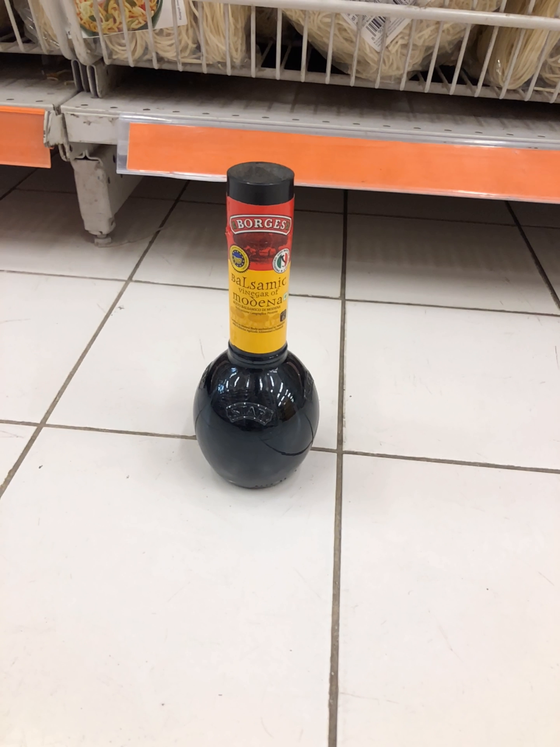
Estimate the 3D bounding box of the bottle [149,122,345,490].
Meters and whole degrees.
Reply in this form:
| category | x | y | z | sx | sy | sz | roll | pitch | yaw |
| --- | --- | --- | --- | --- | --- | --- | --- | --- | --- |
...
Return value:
| category | x | y | z | sx | sy | sz | roll | pitch | yaw |
| --- | --- | --- | --- | --- | --- | --- | --- | --- | --- |
| bottle | -0.014 | -0.032 | 0.341 | 0.080 | 0.179 | 0.081 | 2 | 37 | -1 |
